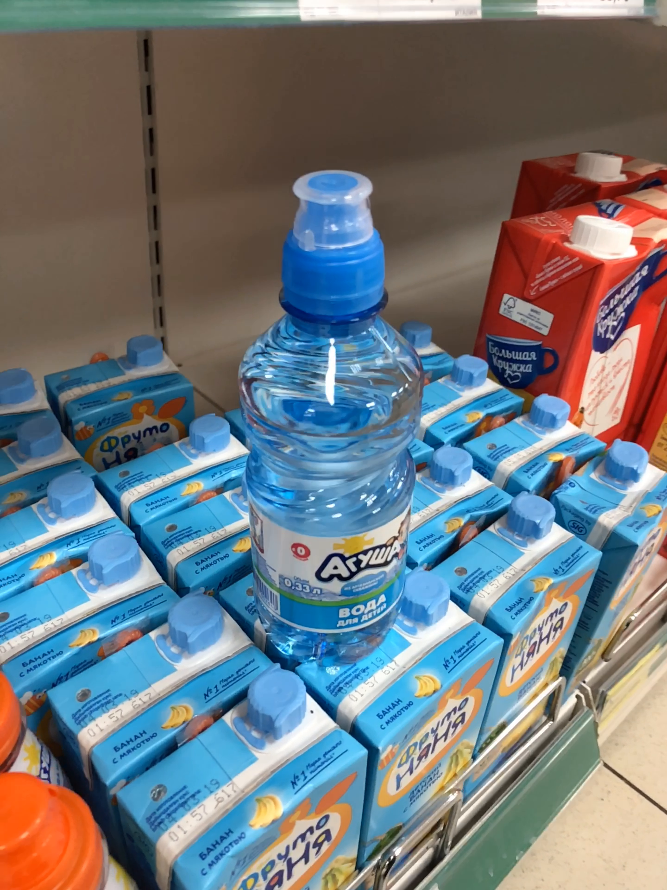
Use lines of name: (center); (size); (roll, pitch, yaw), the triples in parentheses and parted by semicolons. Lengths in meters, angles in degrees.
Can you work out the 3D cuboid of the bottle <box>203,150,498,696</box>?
bottle: (0.000, 0.000, 0.253); (0.060, 0.173, 0.056); (2, 37, -1)
